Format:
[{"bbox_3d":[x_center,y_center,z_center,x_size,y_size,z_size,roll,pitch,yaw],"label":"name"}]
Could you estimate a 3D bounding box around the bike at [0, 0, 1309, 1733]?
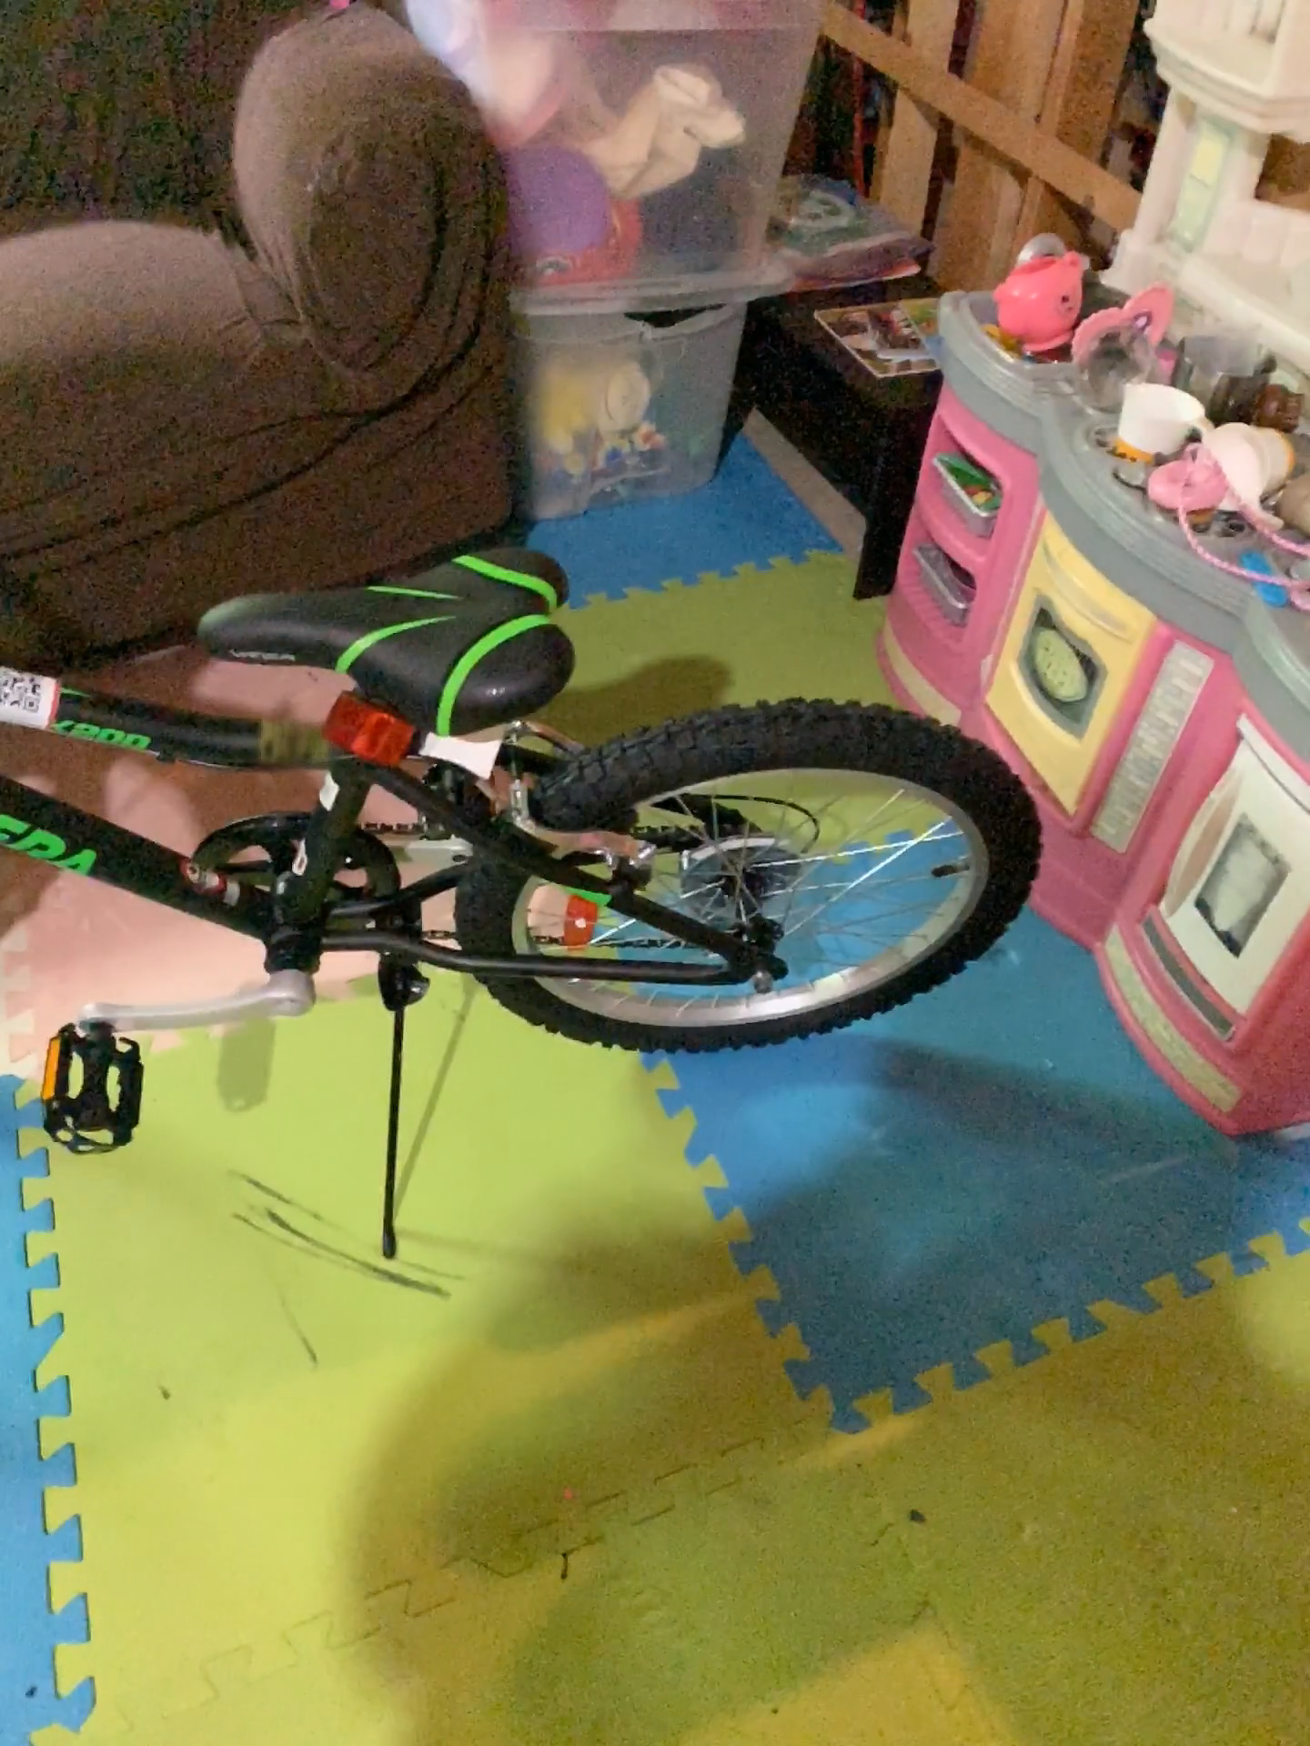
[{"bbox_3d":[-0.311,-0.016,0.916,1.269,0.841,0.536,-12,47,-10],"label":"bike"}]
